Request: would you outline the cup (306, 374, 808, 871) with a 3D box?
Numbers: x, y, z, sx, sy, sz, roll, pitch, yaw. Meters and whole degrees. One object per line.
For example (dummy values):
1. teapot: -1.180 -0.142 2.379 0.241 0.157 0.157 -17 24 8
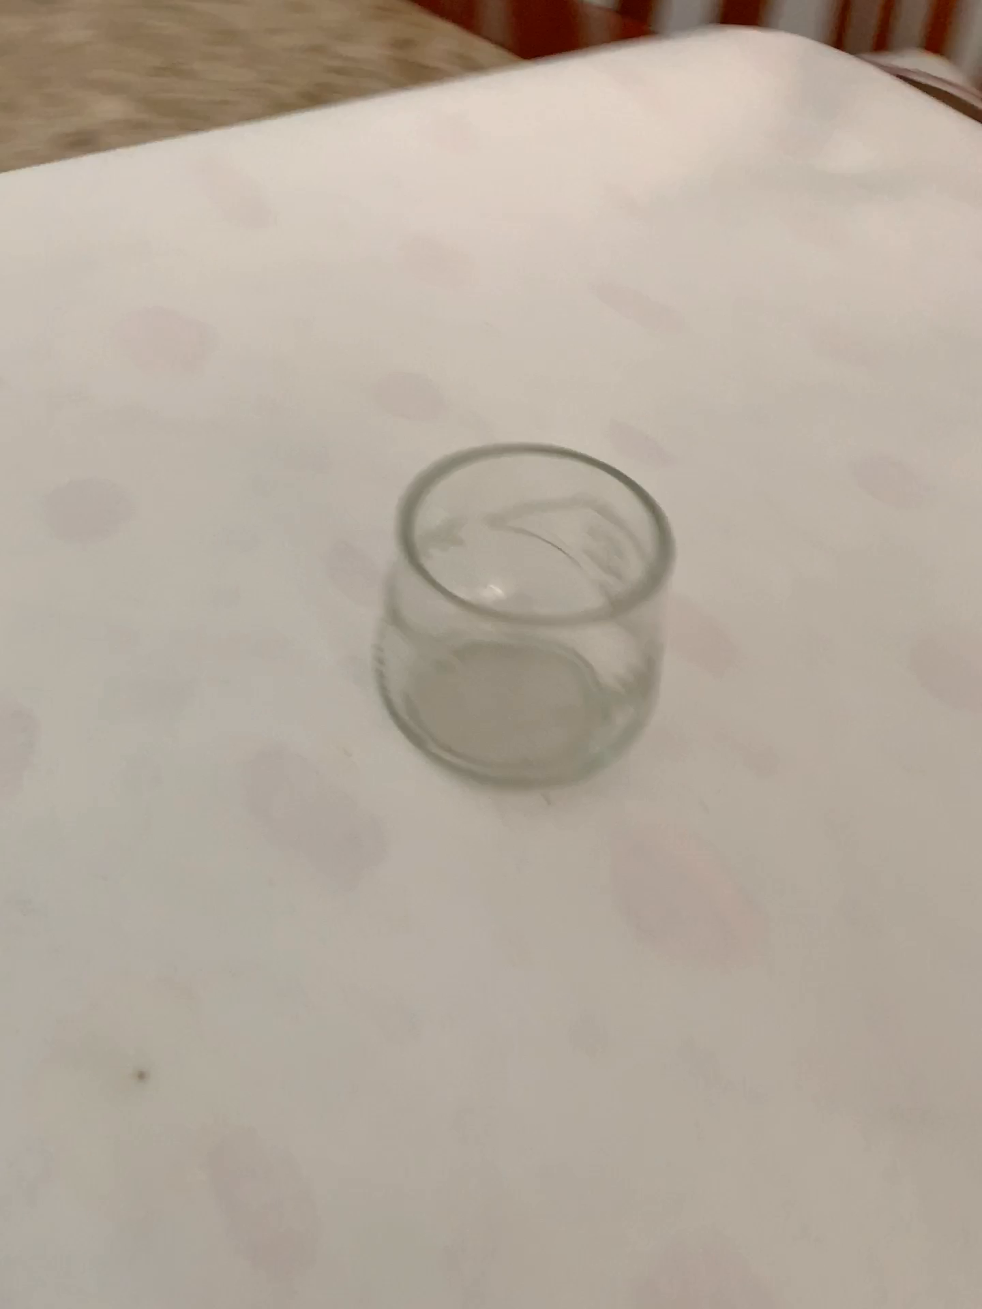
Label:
1. cup: 0.013 -0.012 0.249 0.080 0.060 0.080 3 47 -3
